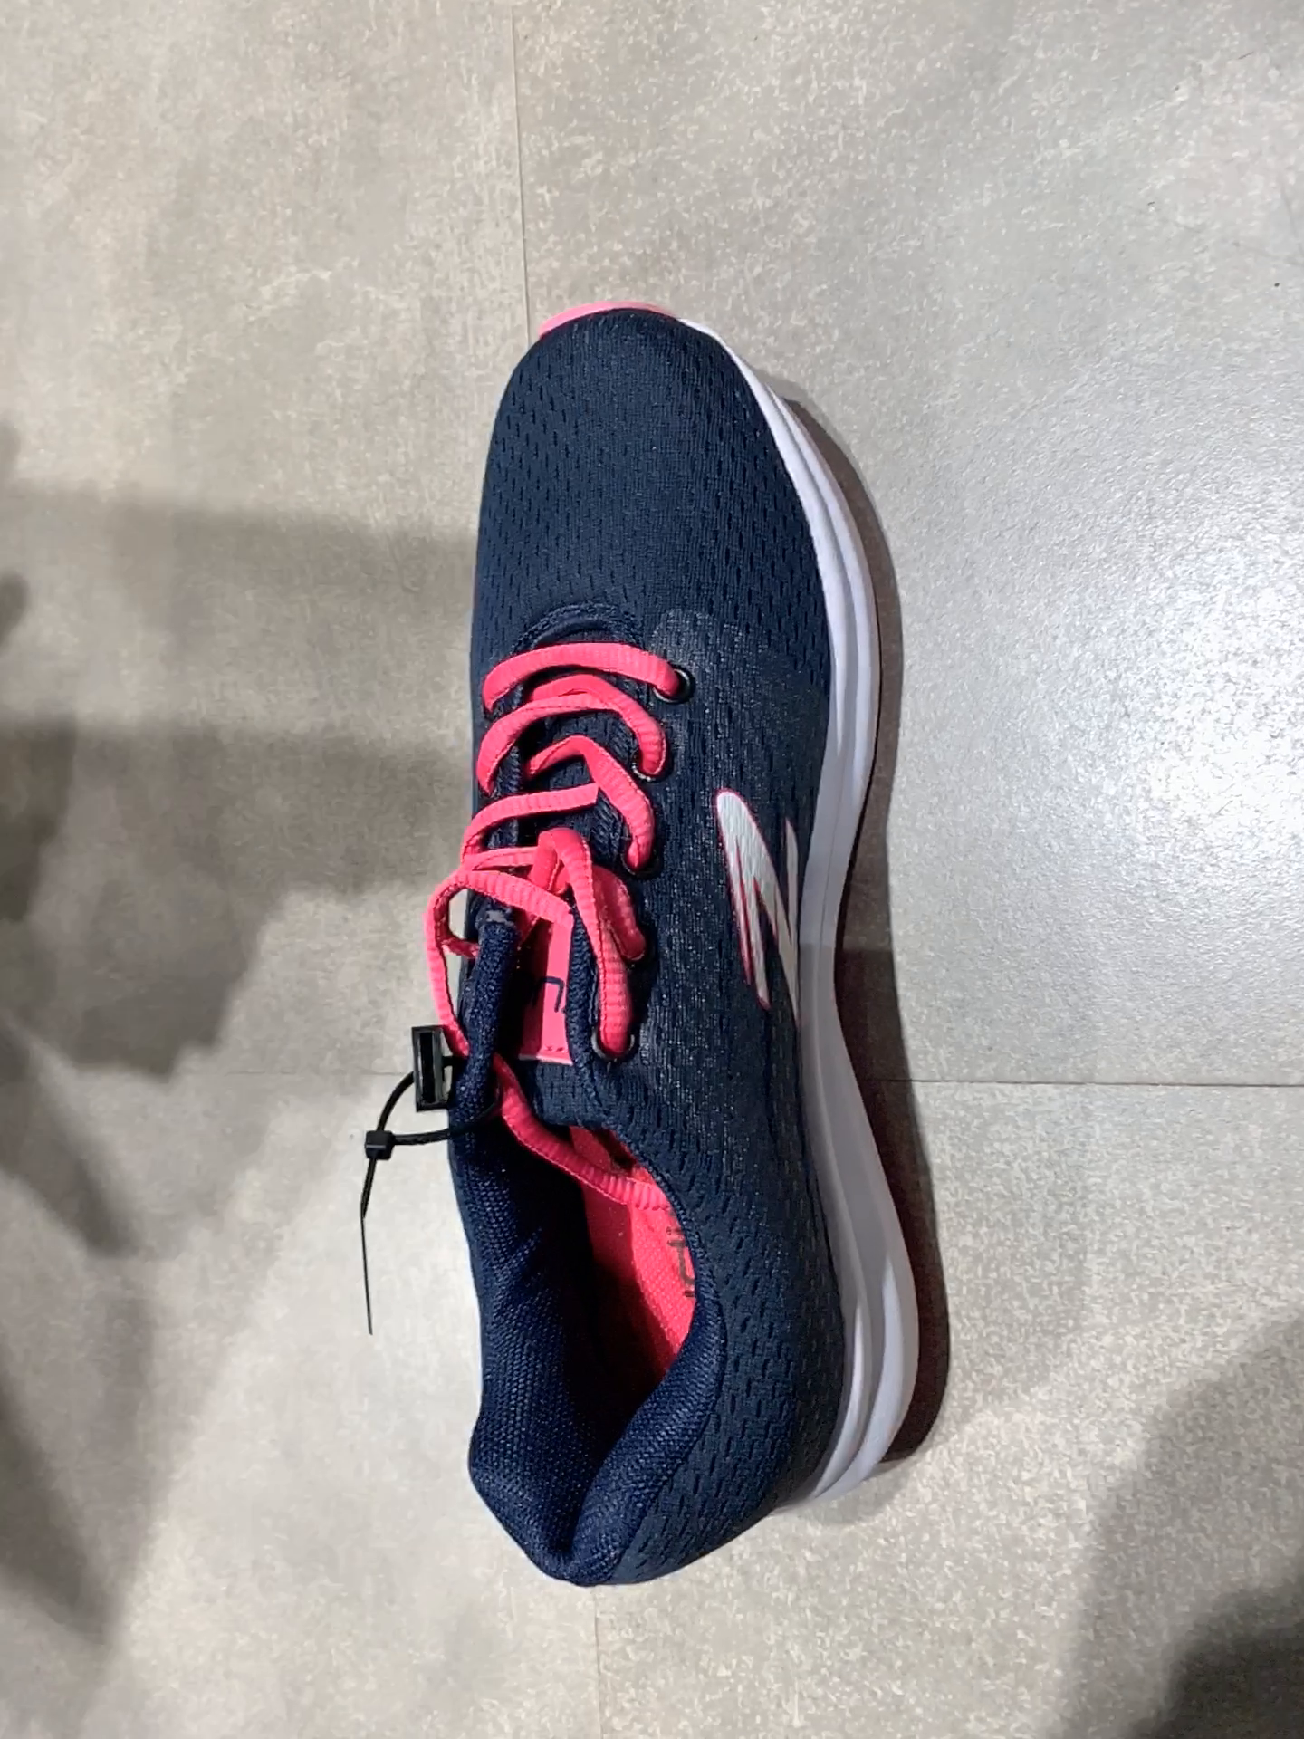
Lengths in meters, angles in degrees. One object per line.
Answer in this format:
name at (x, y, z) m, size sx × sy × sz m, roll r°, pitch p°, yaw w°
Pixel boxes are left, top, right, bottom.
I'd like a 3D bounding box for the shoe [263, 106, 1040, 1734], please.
shoe at (0.001, 0.009, 0.266) m, size 0.095 × 0.090 × 0.248 m, roll -9°, pitch 85°, yaw 30°
